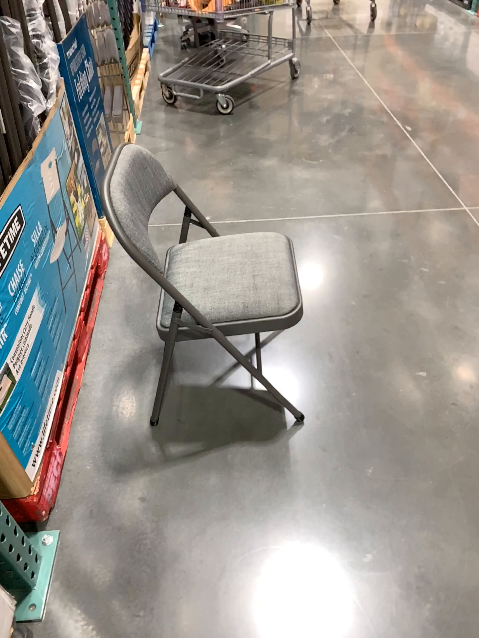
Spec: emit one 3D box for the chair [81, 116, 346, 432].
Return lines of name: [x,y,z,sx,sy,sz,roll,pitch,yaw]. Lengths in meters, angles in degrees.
chair: [-0.054,-0.109,1.346,0.502,0.687,0.497,-2,43,-1]
